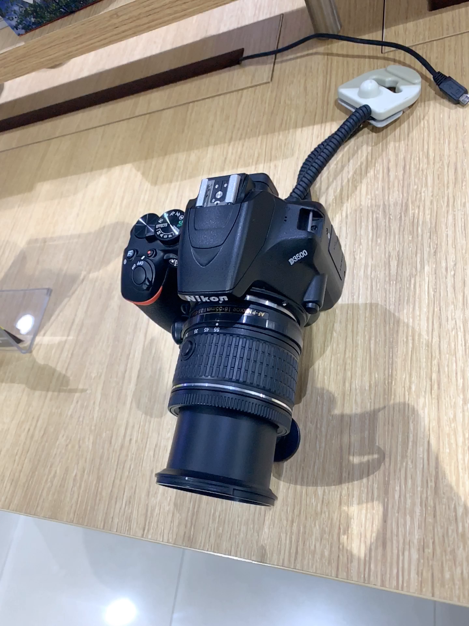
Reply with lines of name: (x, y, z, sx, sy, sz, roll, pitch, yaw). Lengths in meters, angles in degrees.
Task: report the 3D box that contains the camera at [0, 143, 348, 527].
camera: (-0.018, 0.017, 0.232, 0.116, 0.100, 0.136, -3, 64, 26)
